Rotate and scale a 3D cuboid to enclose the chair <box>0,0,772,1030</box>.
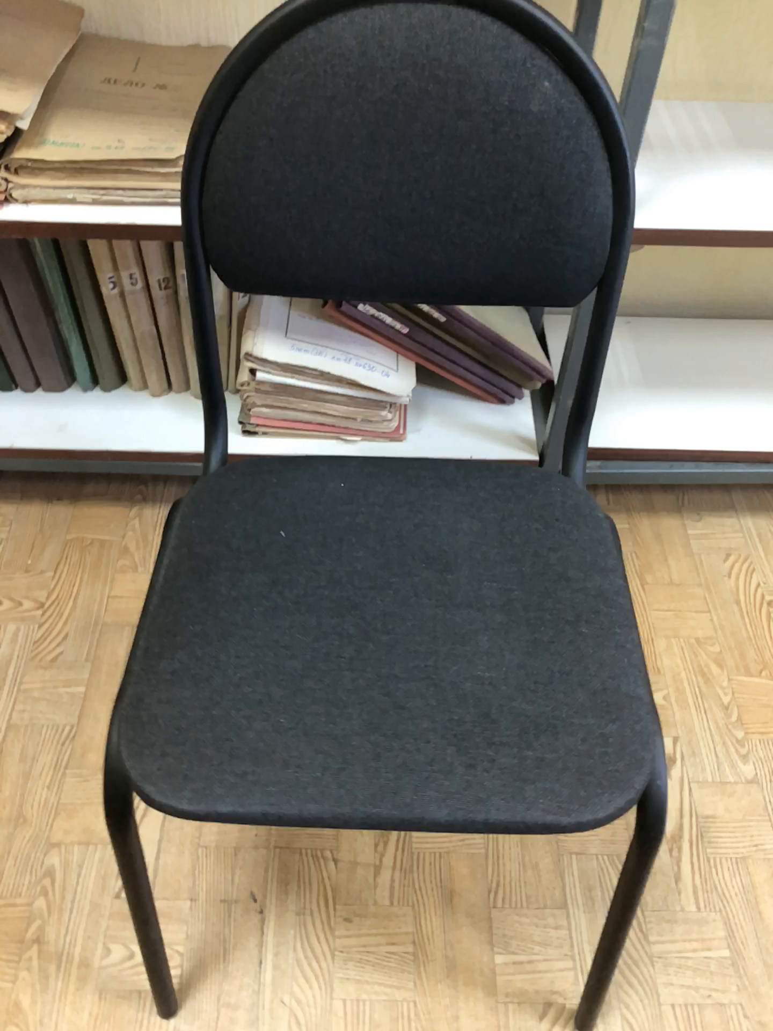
[{"bbox_3d":[-0.002,0.071,0.766,0.472,0.835,0.563,2,51,0],"label":"chair"}]
